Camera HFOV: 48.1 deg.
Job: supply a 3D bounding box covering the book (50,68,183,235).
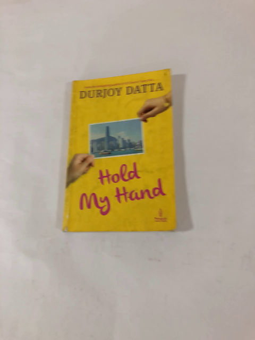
[{"bbox_3d":[-0.013,-0.023,0.333,0.140,0.020,0.190,-3,73,9],"label":"book"}]
